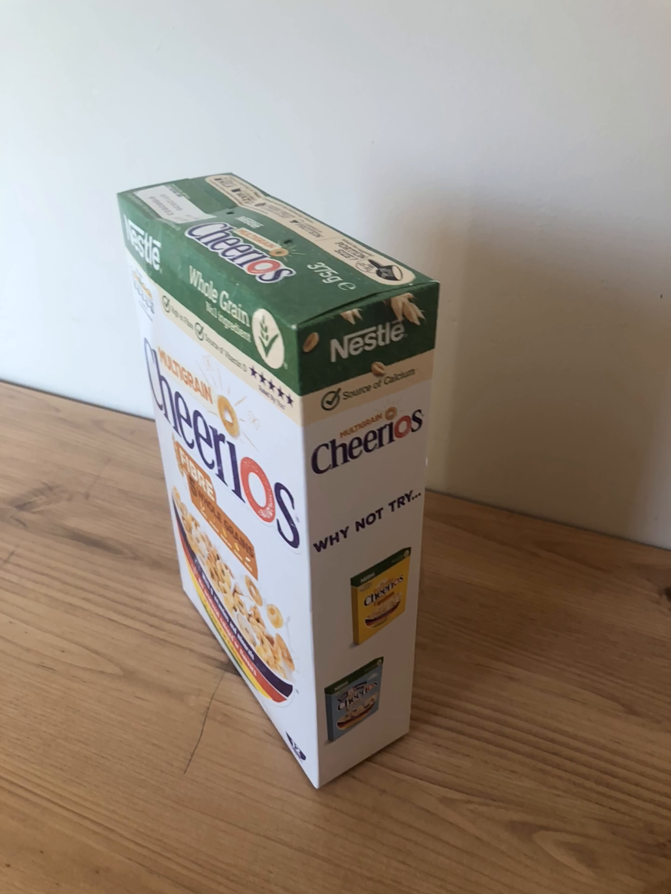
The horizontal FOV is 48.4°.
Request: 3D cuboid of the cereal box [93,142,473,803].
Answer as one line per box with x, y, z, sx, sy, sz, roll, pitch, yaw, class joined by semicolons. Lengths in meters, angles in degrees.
-0.037;0.013;0.429;0.080;0.308;0.211;-20;40;-26;cereal box
